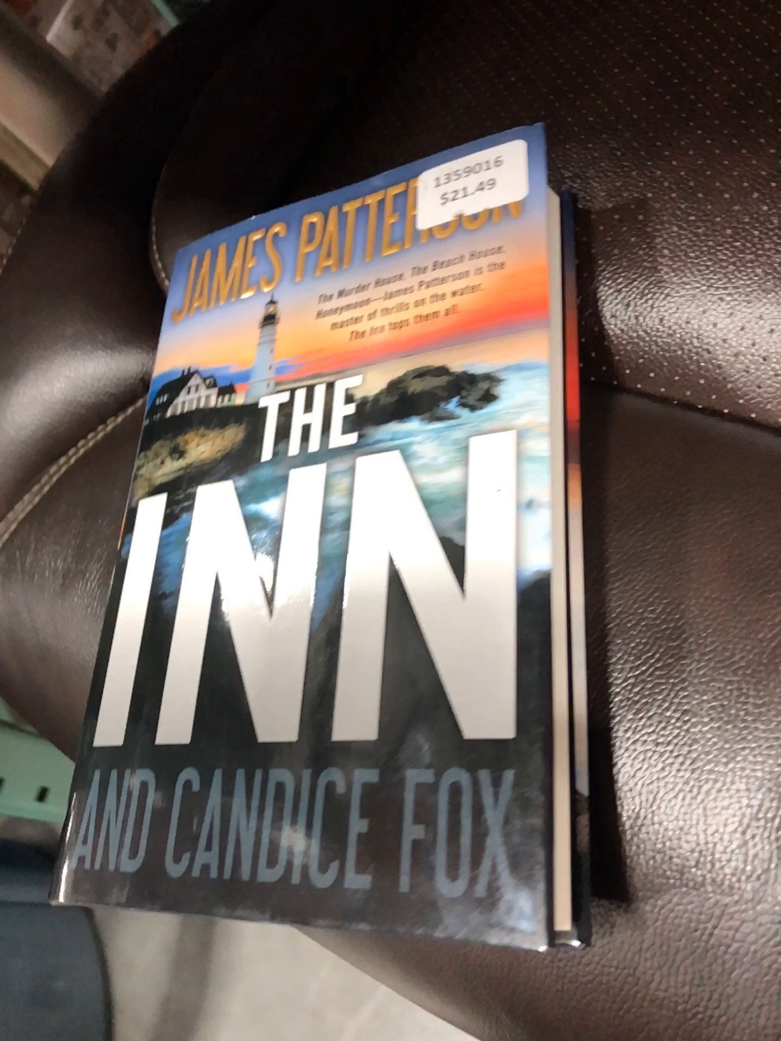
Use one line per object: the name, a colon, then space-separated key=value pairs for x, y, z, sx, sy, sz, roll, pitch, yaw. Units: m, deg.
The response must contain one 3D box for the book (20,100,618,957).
book: x=-0.020 y=-0.003 z=0.290 sx=0.171 sy=0.040 sz=0.250 roll=-9 pitch=63 yaw=28
